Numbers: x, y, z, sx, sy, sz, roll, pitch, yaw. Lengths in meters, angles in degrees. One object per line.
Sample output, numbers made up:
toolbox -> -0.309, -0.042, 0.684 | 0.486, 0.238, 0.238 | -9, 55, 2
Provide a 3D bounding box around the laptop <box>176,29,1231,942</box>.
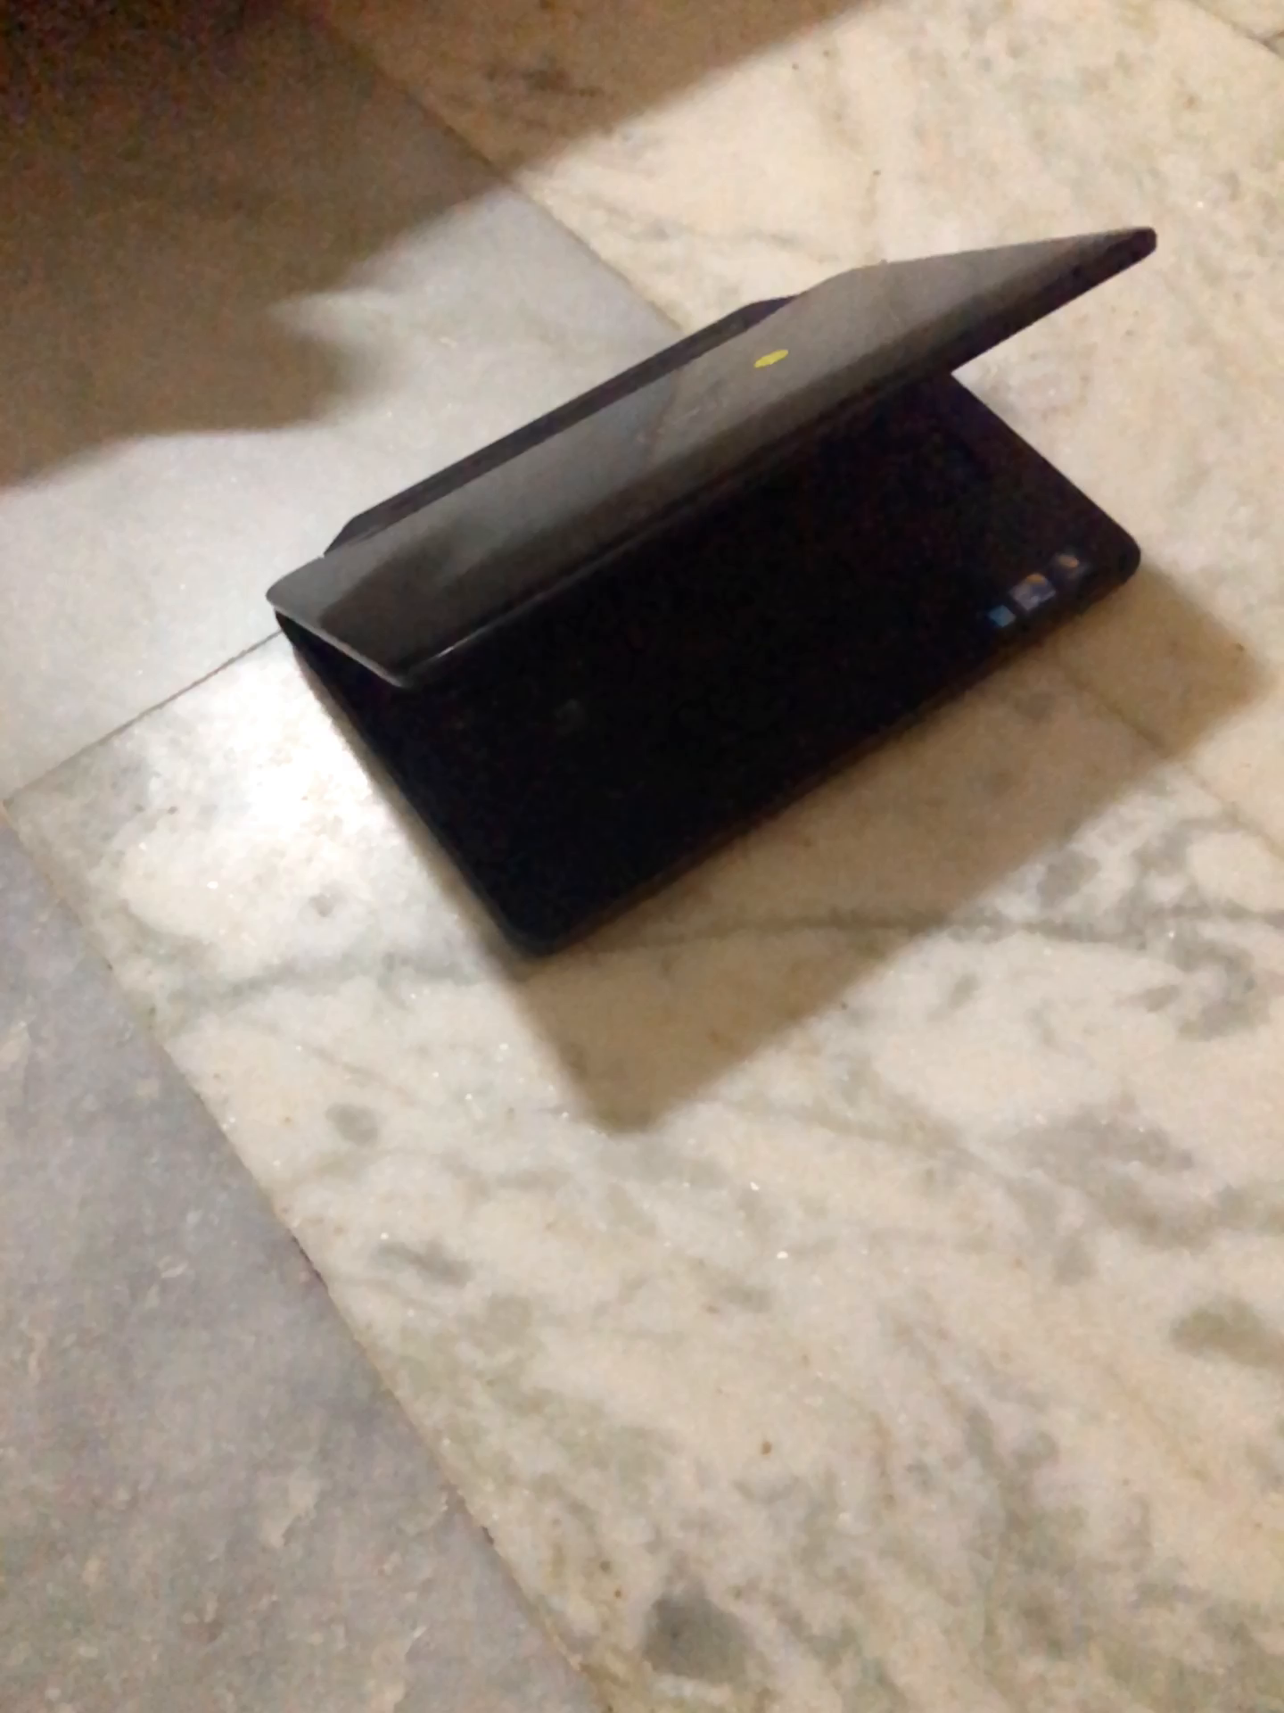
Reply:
laptop -> 0.027, -0.174, 0.633 | 0.351, 0.161, 0.234 | -34, 65, -16
